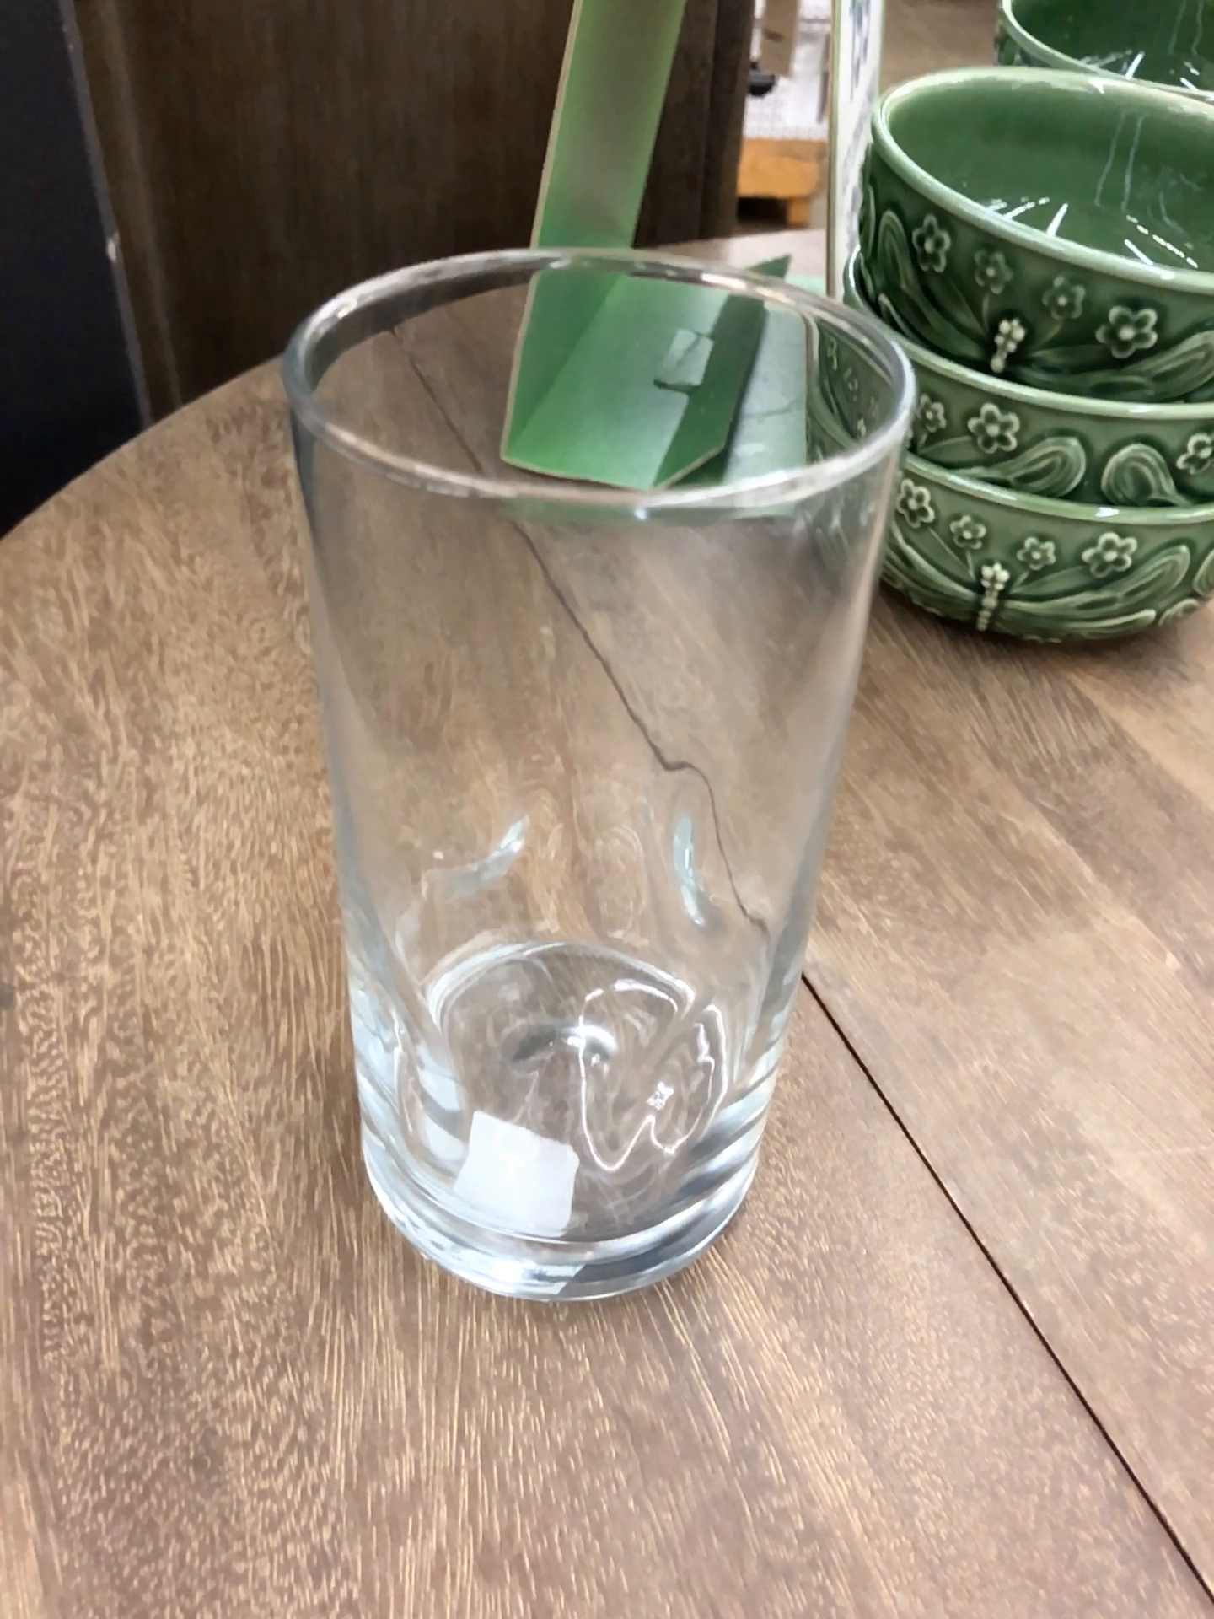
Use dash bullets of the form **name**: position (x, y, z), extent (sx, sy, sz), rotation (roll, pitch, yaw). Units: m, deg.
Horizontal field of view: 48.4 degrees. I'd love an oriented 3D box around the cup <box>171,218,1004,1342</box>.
- **cup**: position (-0.003, 0.001, 0.203), extent (0.078, 0.144, 0.082), rotation (2, 40, -2)
